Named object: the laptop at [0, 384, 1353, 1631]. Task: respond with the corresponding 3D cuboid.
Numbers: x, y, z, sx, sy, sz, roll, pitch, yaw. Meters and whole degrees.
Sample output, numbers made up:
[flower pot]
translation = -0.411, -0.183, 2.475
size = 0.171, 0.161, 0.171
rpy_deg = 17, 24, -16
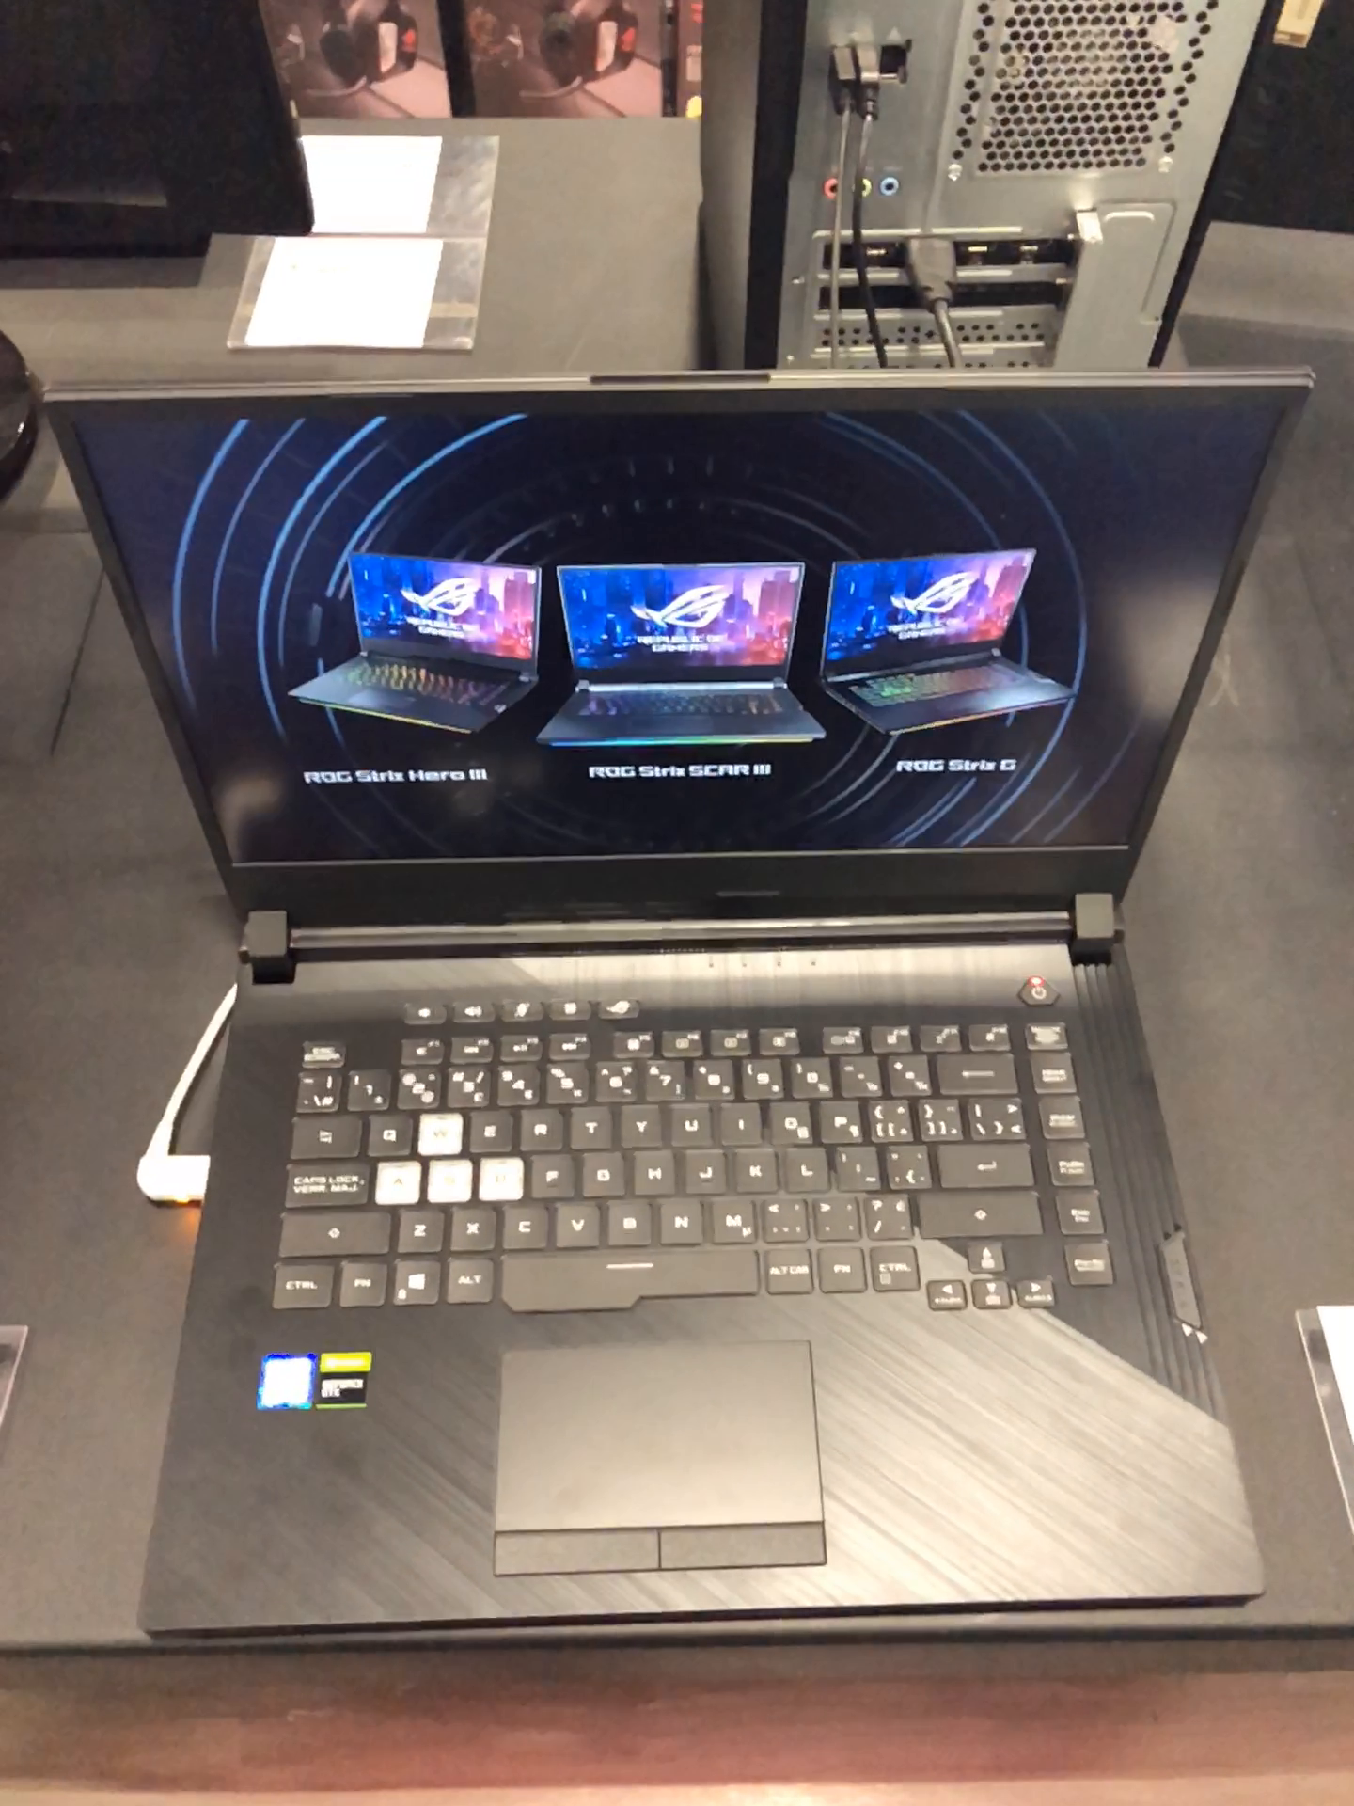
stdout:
[laptop]
translation = 0.004, 0.039, 0.439
size = 0.349, 0.244, 0.281
rpy_deg = -1, 57, -1
